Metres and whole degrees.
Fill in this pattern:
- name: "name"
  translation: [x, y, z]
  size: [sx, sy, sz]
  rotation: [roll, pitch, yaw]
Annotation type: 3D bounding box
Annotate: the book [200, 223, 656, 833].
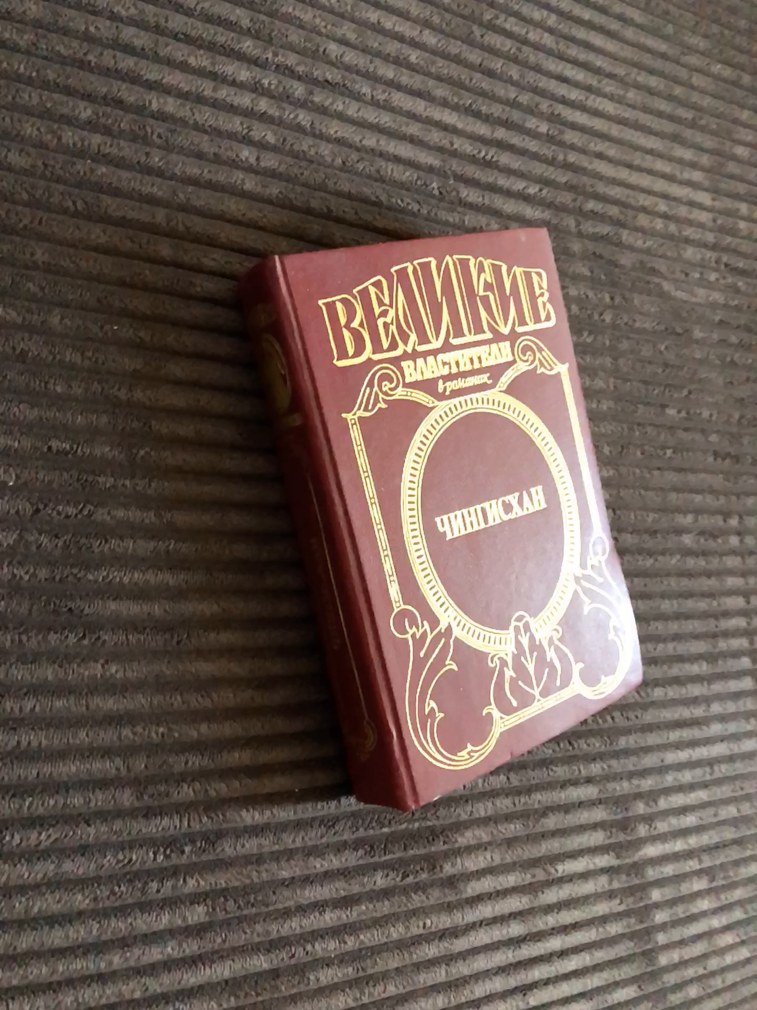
- name: "book"
  translation: [0.026, 0.000, 0.338]
  size: [0.138, 0.050, 0.202]
  rotation: [-16, 95, -31]
